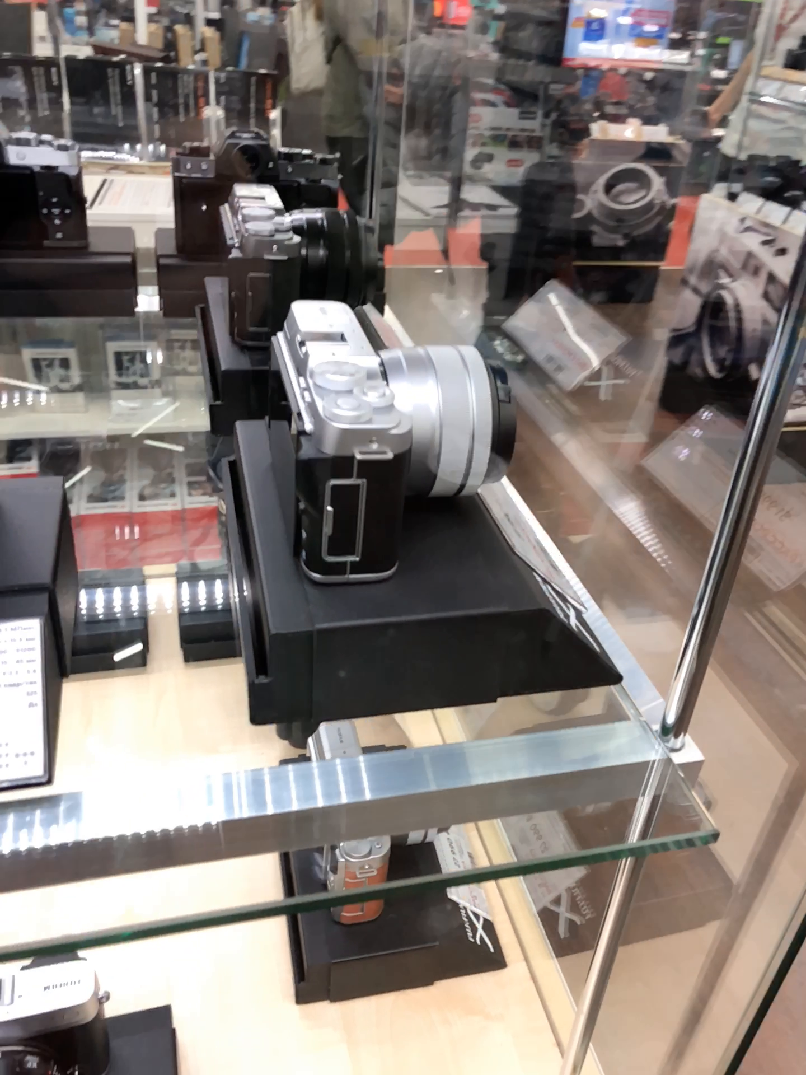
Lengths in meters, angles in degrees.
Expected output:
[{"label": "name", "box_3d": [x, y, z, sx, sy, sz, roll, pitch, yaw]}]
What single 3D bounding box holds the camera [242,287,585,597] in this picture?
[{"label": "camera", "box_3d": [-0.007, -0.046, 0.351, 0.100, 0.066, 0.134, -3, 32, -14]}]
